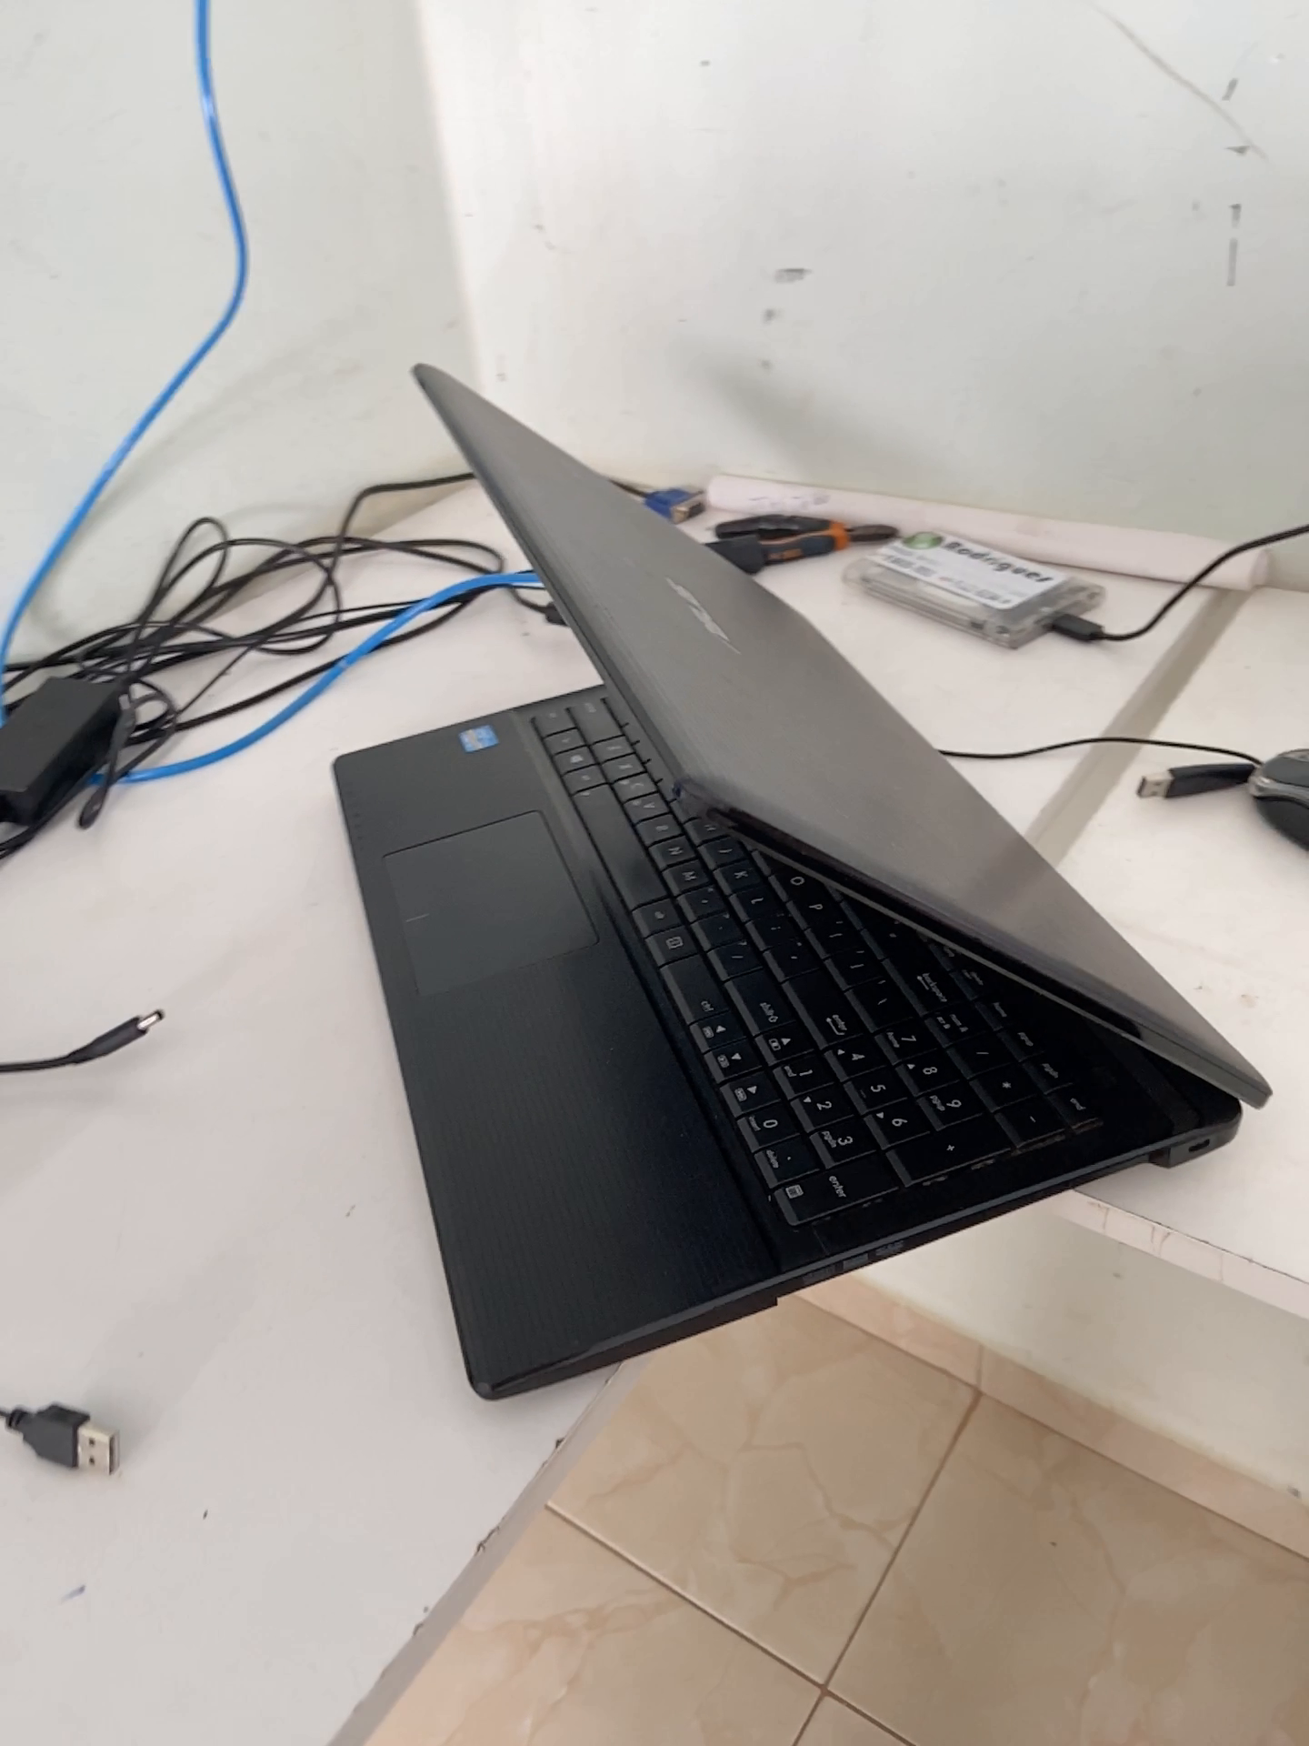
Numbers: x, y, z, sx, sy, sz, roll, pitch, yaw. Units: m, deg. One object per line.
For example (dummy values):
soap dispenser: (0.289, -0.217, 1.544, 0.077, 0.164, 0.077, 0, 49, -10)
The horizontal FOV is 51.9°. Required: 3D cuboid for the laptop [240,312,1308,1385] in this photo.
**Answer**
laptop: (-0.002, -0.057, 0.507, 0.247, 0.166, 0.378, -16, 37, -9)
